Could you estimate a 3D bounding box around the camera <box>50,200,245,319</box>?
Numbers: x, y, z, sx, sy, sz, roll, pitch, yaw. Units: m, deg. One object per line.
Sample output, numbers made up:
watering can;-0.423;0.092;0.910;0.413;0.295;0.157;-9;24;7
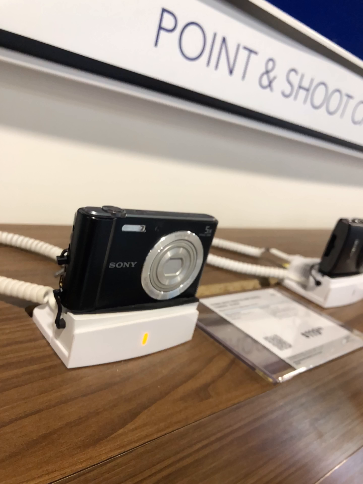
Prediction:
camera;-0.016;0.008;0.229;0.100;0.050;0.030;1;19;-38
